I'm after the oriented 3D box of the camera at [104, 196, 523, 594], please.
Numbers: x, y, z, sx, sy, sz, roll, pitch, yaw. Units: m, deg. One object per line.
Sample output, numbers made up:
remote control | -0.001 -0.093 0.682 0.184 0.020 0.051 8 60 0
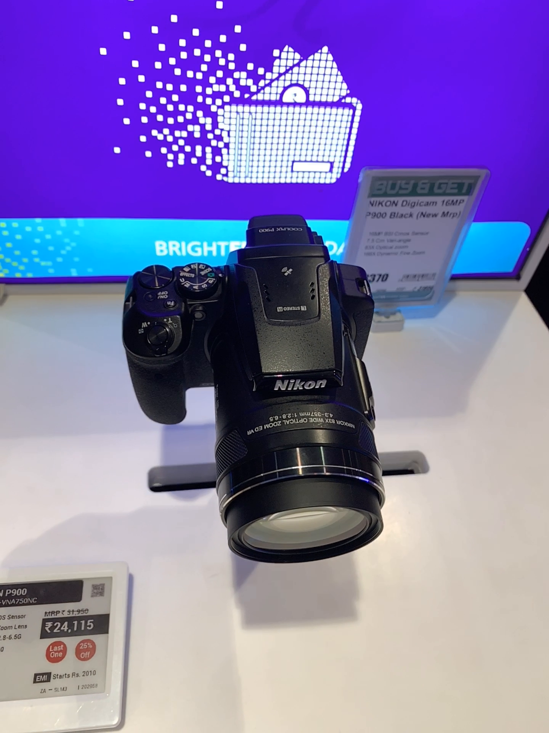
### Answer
camera | 0.001 0.004 0.271 0.140 0.090 0.161 -2 48 -10
